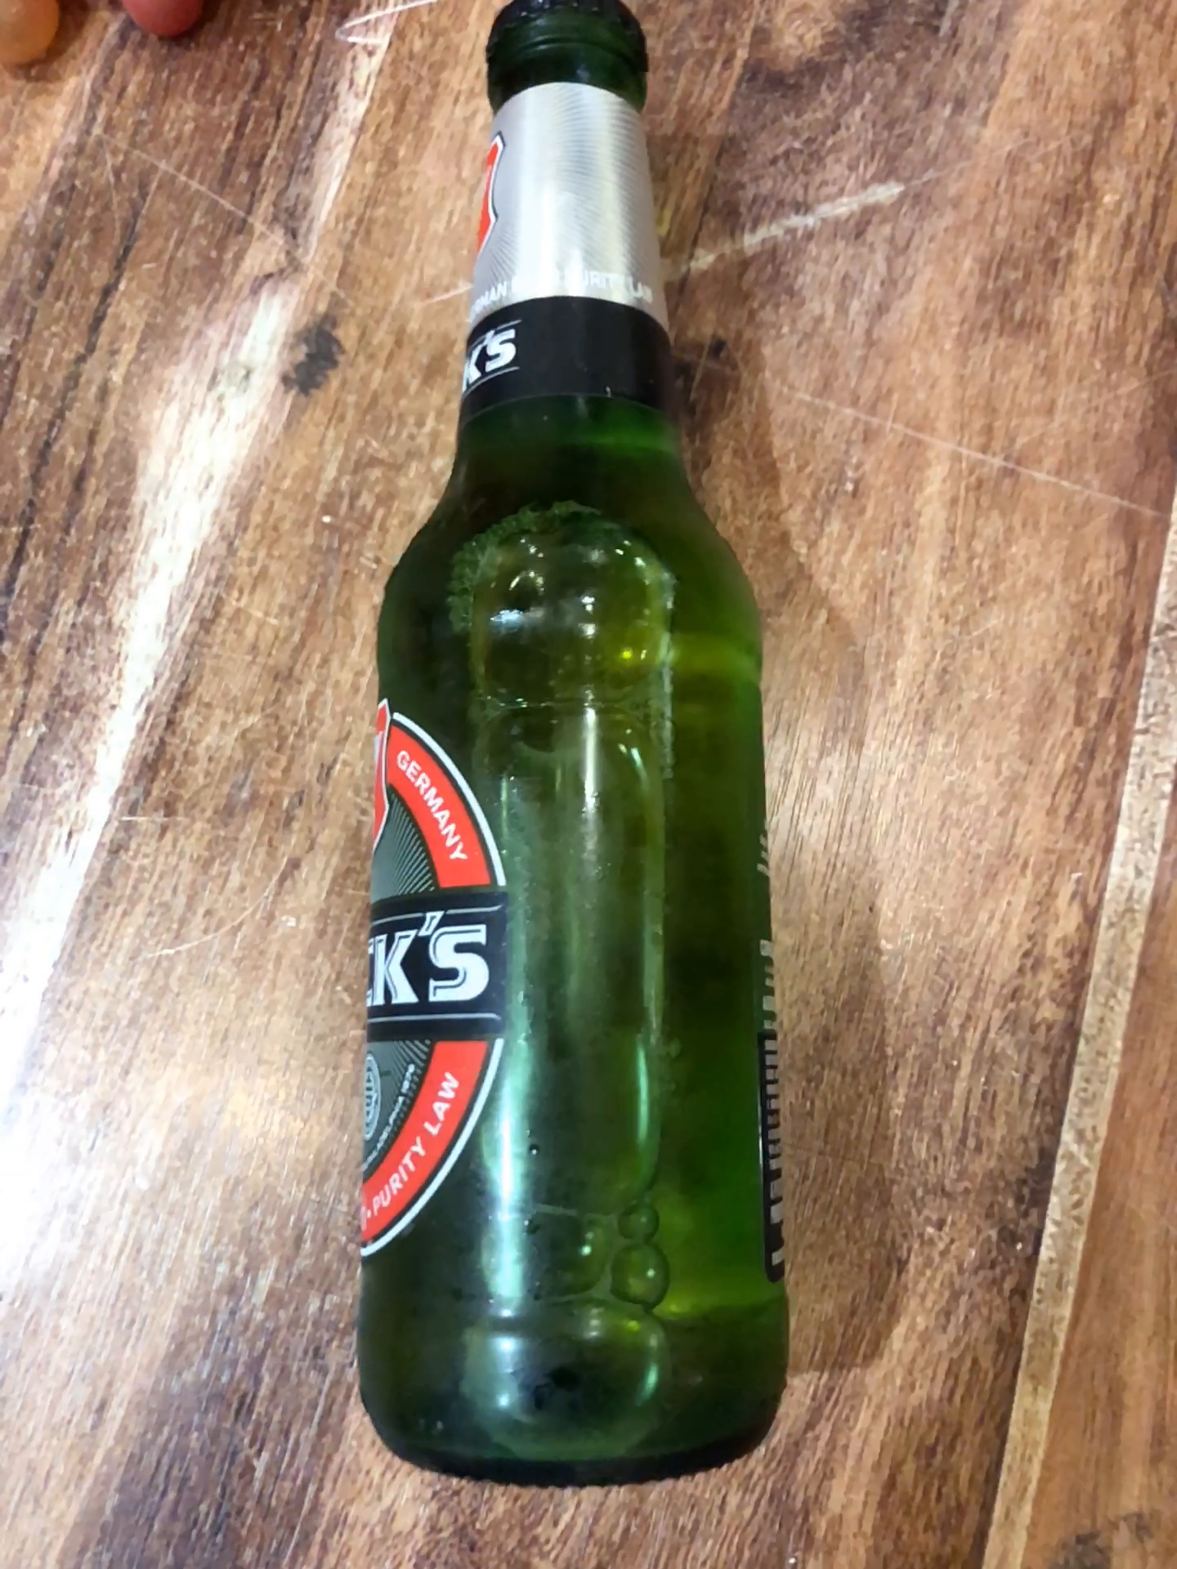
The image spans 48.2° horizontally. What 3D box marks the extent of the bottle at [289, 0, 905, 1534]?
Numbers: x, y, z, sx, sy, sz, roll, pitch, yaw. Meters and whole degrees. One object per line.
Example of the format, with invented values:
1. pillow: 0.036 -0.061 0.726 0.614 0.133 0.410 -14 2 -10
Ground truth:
1. bottle: 0.000 -0.021 0.204 0.070 0.060 0.230 0 77 -1
